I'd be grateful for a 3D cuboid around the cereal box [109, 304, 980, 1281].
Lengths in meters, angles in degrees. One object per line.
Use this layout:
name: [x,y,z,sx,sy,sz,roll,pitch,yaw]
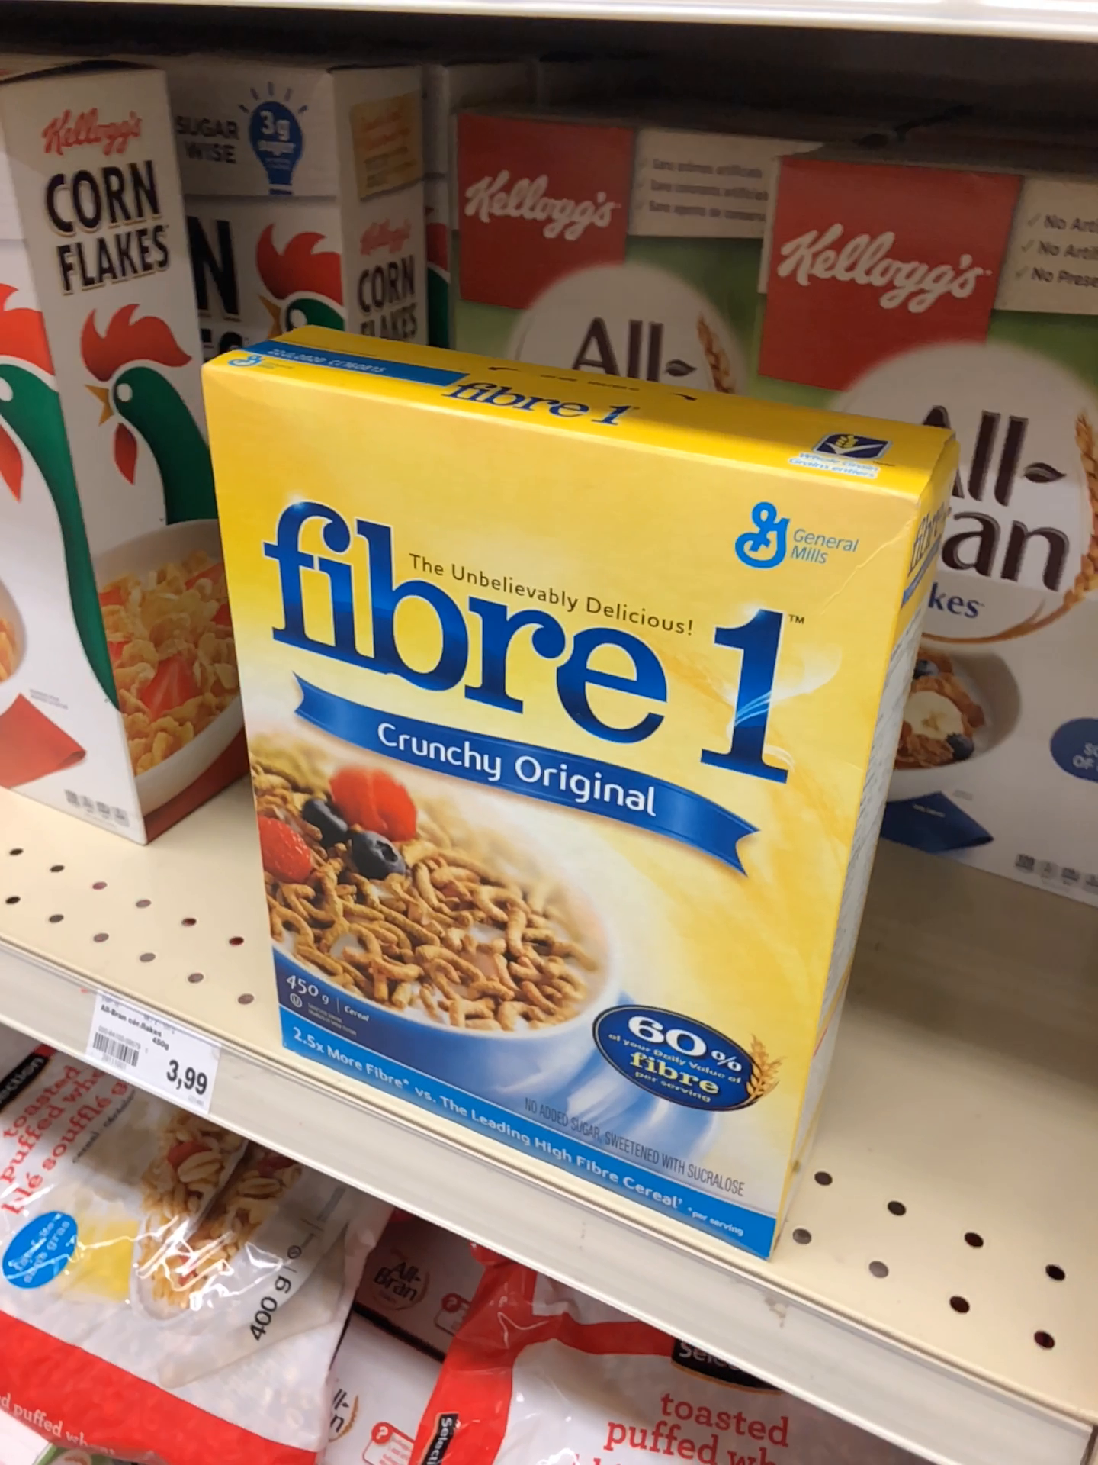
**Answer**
cereal box: [-0.009,0.019,0.365,0.210,0.248,0.060,16,35,22]
